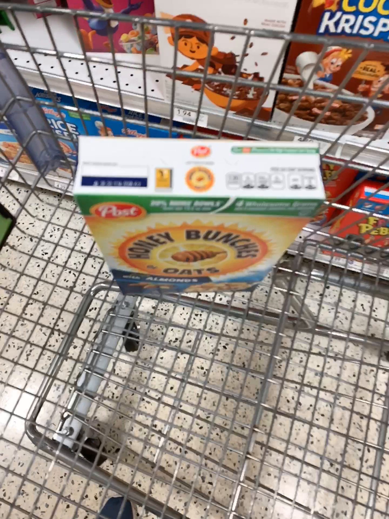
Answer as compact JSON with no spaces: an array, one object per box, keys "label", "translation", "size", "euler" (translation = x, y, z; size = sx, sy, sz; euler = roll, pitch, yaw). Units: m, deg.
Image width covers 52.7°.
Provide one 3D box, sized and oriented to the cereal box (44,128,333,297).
[{"label":"cereal box","translation":[-0.005,-0.023,0.442],"size":[0.210,0.309,0.060],"euler":[1,72,0]}]
